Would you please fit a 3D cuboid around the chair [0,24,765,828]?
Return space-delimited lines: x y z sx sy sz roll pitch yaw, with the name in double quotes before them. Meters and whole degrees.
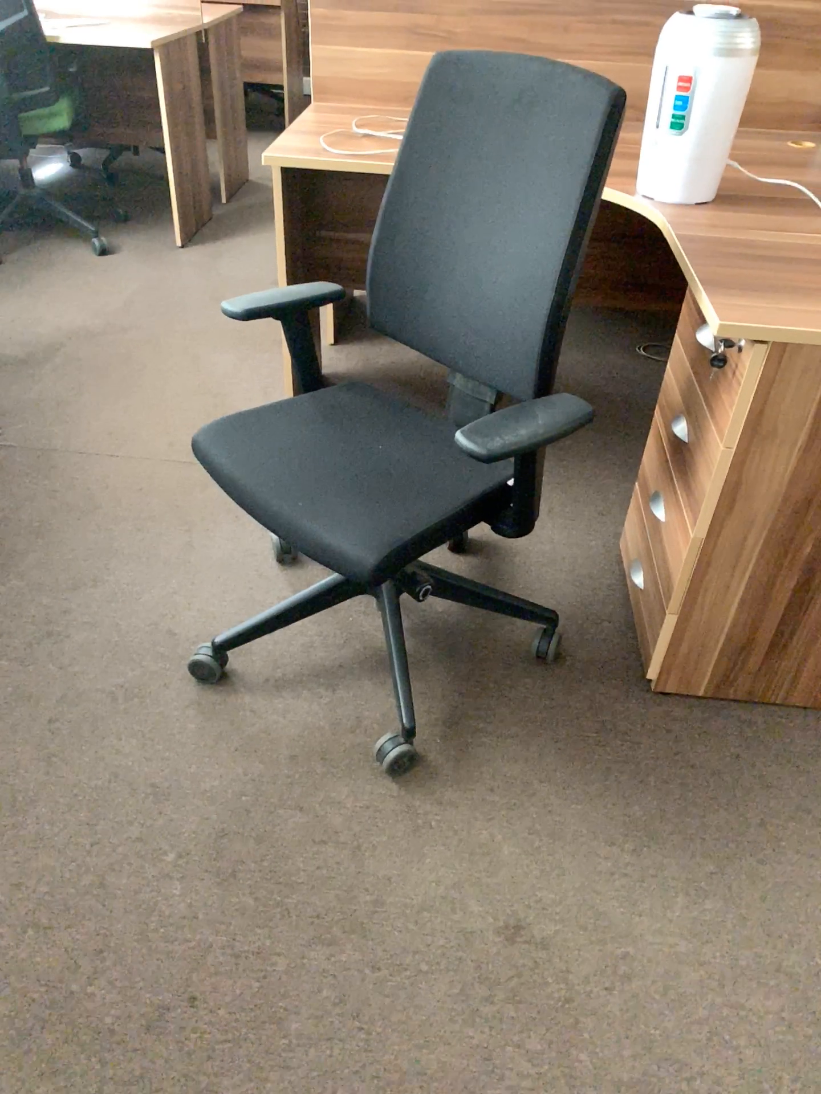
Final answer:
"chair" -0.058 -0.261 1.366 0.792 0.915 0.672 -29 48 -34
